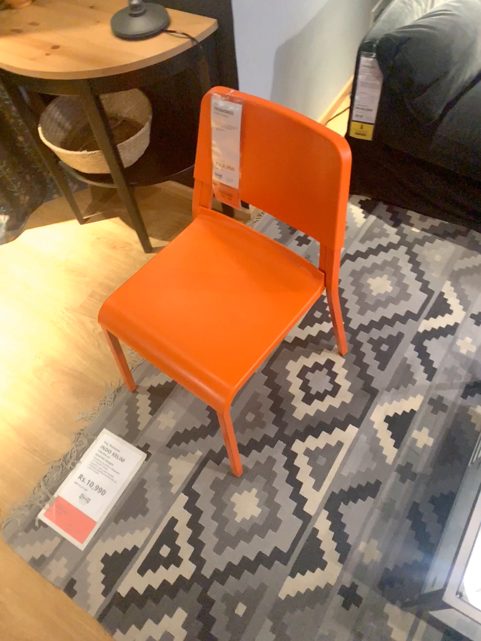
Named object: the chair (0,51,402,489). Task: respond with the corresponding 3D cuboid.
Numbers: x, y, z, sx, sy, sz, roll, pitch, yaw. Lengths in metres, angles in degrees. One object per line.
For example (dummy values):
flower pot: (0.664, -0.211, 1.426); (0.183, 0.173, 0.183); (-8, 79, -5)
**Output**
chair: (-0.055, -0.071, 1.155); (0.511, 0.738, 0.540); (31, 65, 22)
